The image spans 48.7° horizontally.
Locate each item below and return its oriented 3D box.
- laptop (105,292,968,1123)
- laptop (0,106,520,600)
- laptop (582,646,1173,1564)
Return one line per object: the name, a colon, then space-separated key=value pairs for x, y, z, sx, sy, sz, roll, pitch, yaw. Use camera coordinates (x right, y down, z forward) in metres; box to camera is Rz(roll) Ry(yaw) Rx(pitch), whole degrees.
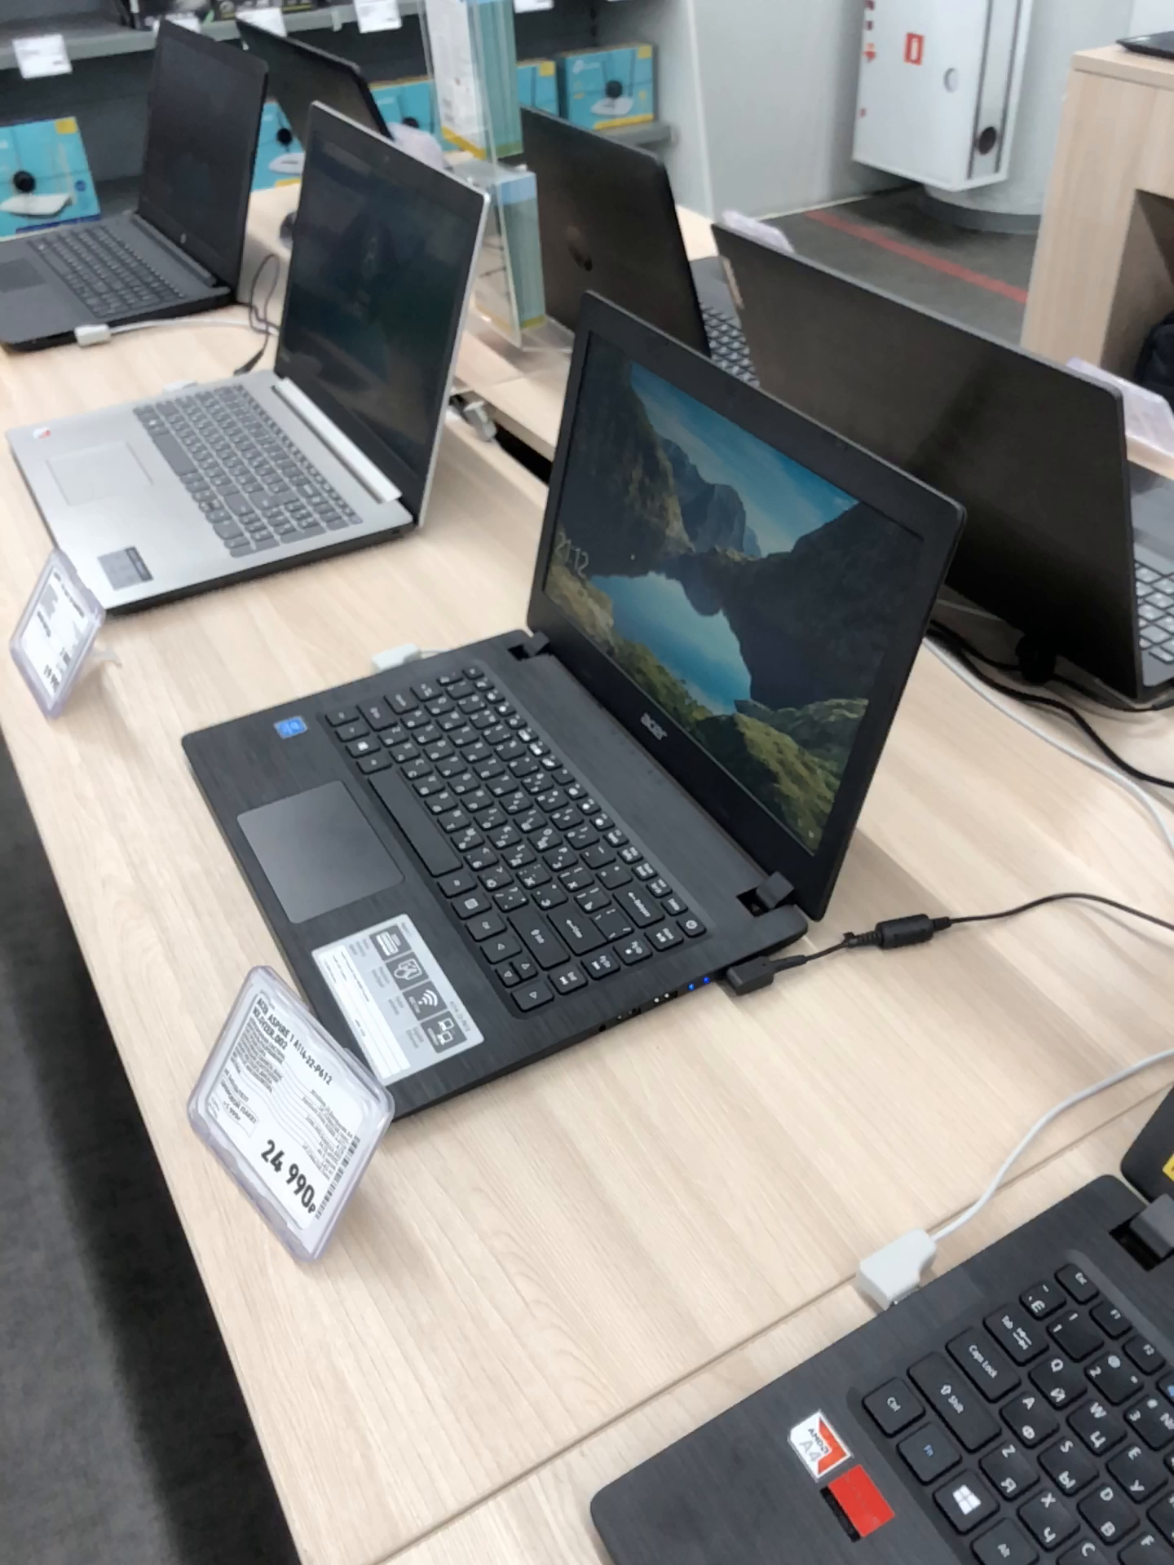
laptop: x=-0.043 y=-0.074 z=0.700 sx=0.302 sy=0.223 sz=0.344 roll=-20 pitch=42 yaw=-20
laptop: x=-0.301 y=-0.376 z=1.074 sx=0.338 sy=0.236 sz=0.364 roll=-20 pitch=41 yaw=-19
laptop: x=0.255 y=0.204 z=0.316 sx=0.376 sy=0.216 sz=0.381 roll=-21 pitch=42 yaw=-20
